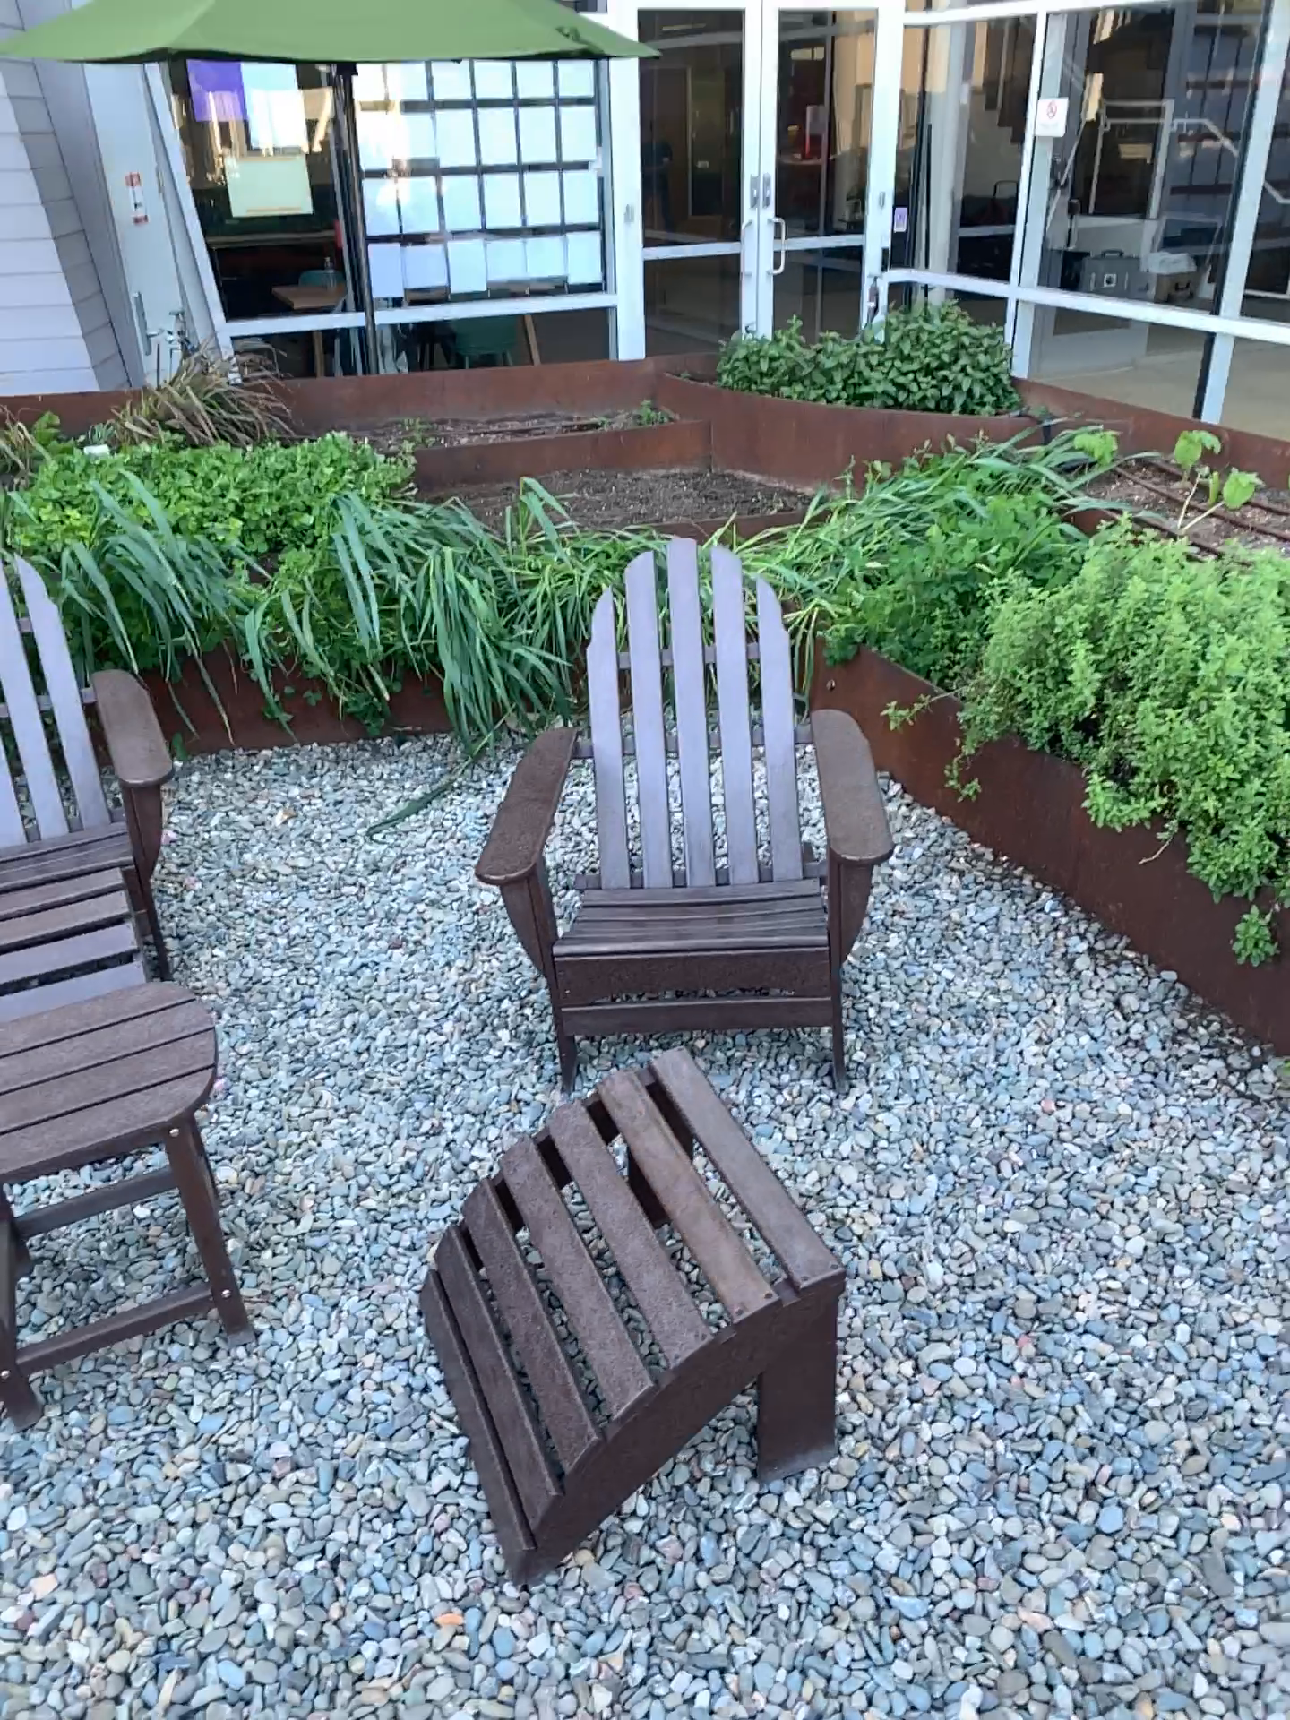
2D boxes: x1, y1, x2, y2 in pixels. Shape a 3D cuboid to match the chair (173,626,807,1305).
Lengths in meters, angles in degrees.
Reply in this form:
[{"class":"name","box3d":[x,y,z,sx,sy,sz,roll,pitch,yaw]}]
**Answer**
[{"class":"chair","box3d":[-0.233,0.158,2.934,1.001,0.994,1.005,6,30,14]}]
